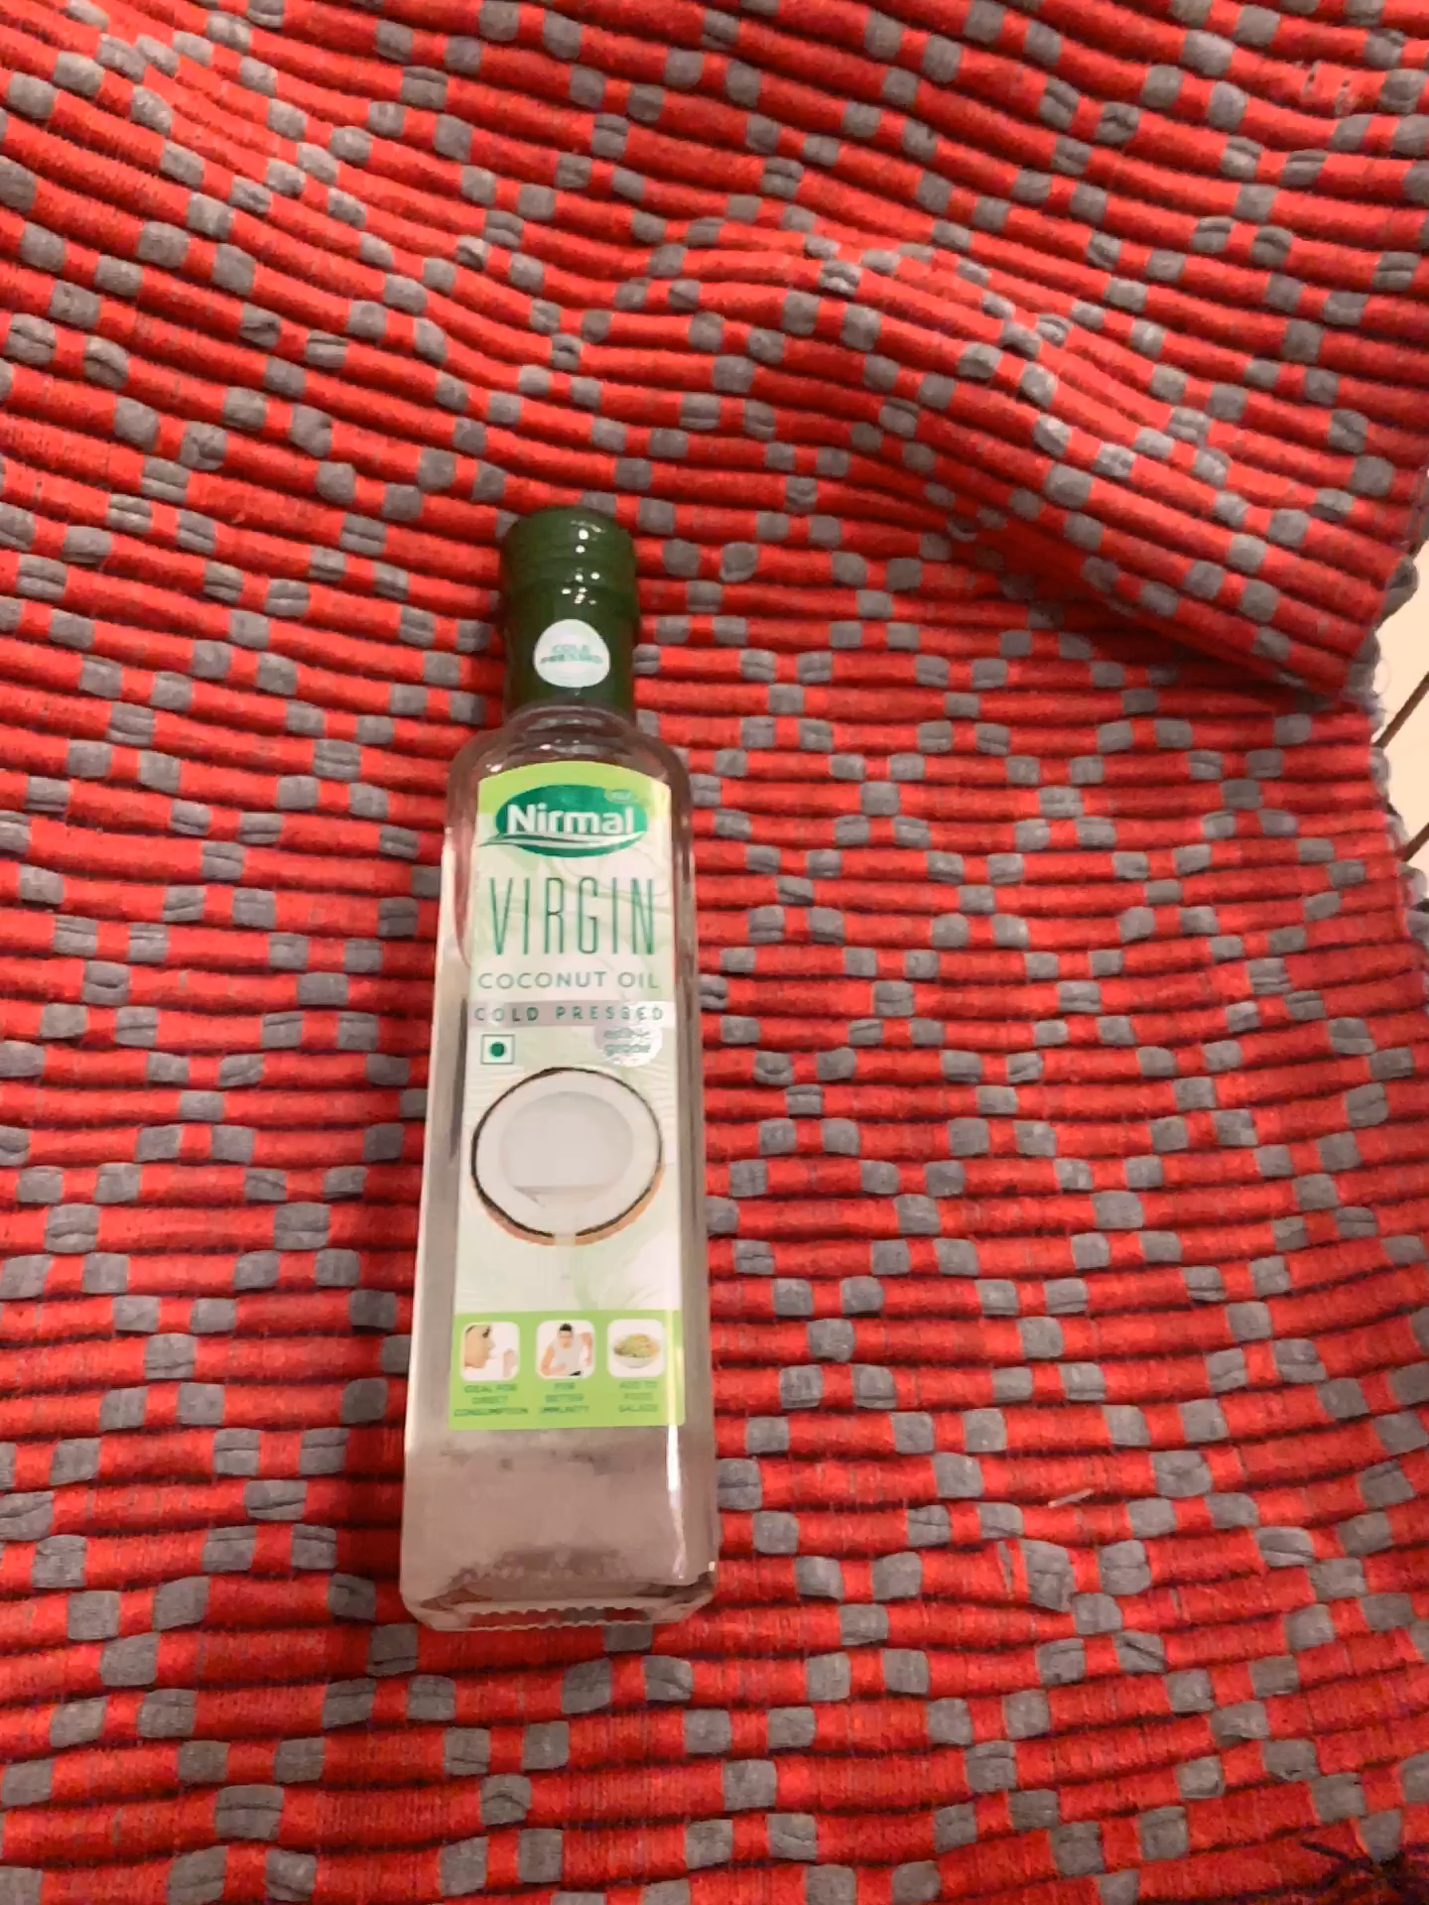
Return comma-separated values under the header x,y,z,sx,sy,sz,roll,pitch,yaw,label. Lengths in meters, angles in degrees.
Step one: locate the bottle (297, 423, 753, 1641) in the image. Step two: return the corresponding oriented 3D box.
x,y,z,sx,sy,sz,roll,pitch,yaw,label
-0.033,0.003,0.277,0.060,0.060,0.220,0,61,-6,bottle
